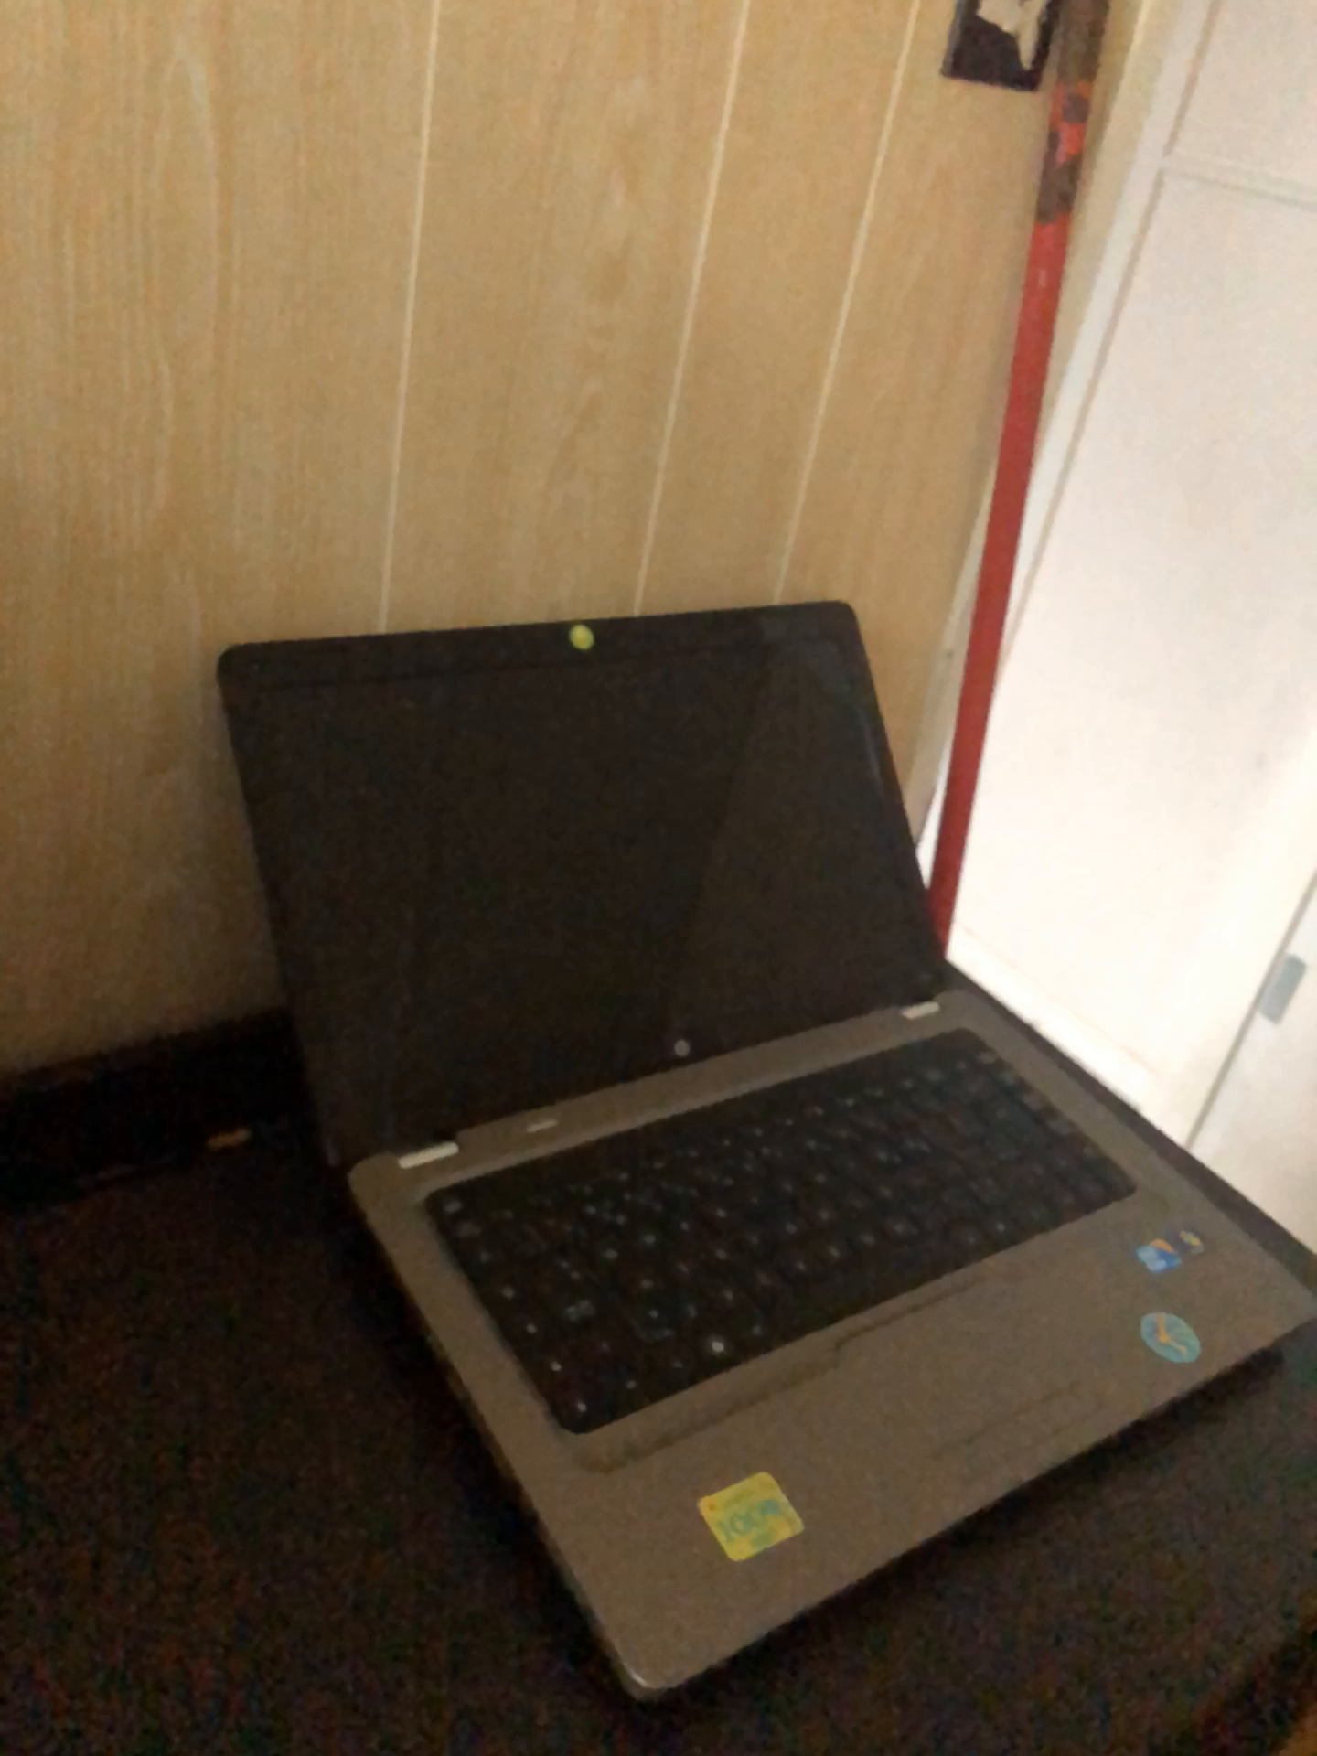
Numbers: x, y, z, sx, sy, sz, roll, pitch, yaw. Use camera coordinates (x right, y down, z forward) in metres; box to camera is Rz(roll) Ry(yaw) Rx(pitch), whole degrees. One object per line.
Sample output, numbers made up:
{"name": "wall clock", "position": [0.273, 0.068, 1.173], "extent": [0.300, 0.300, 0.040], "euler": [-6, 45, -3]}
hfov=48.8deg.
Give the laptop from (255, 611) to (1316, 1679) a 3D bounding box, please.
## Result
{"name": "laptop", "position": [0.064, 0.052, 0.657], "extent": [0.356, 0.166, 0.403], "euler": [-11, 38, -33]}
